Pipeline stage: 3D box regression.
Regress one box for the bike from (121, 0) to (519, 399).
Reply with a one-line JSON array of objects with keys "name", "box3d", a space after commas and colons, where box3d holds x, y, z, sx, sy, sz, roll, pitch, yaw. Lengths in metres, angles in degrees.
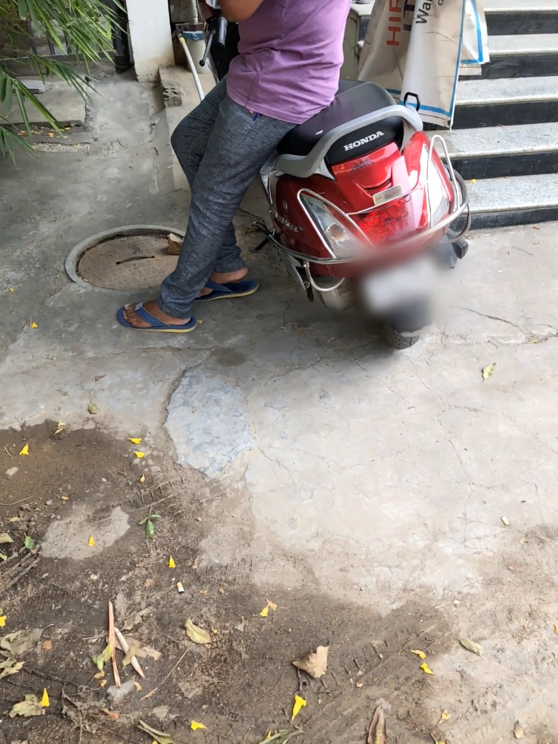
[{"name": "bike", "box3d": [-0.025, -0.878, 1.990, 0.573, 1.056, 1.484, -13, 42, -15]}]
